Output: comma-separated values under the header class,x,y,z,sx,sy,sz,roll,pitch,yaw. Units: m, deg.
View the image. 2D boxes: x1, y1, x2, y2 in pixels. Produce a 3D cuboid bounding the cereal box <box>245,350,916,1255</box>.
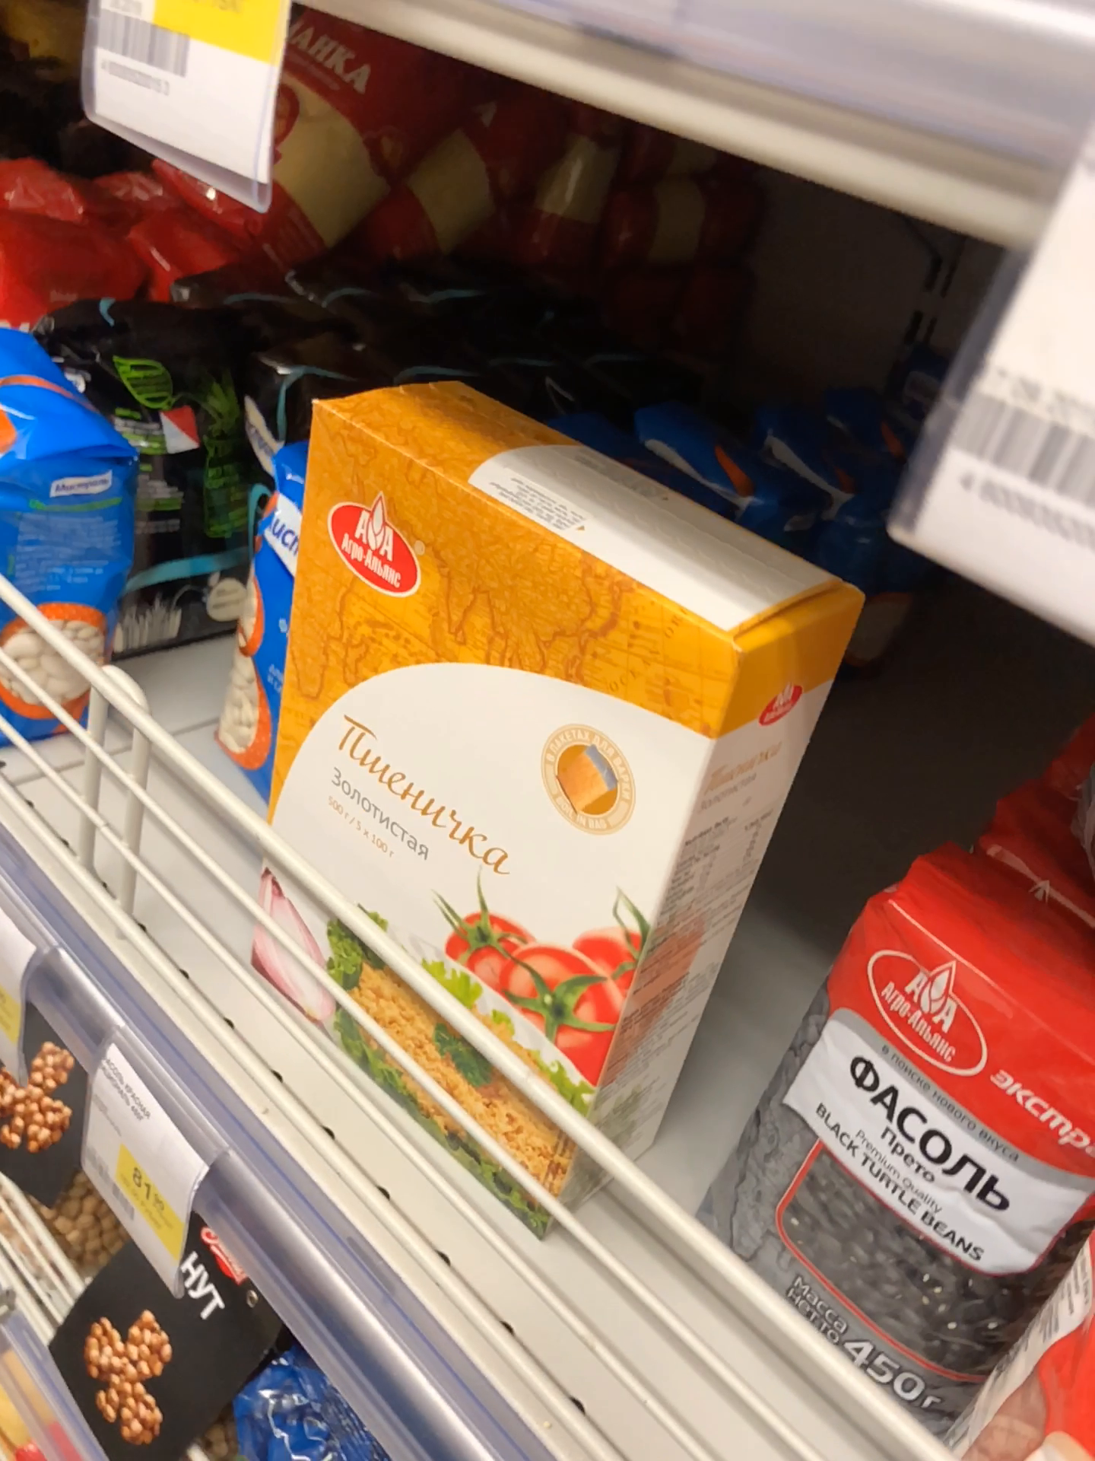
class,x,y,z,sx,sy,sz,roll,pitch,yaw
cereal box,-0.009,0.019,0.337,0.140,0.199,0.060,33,37,28
